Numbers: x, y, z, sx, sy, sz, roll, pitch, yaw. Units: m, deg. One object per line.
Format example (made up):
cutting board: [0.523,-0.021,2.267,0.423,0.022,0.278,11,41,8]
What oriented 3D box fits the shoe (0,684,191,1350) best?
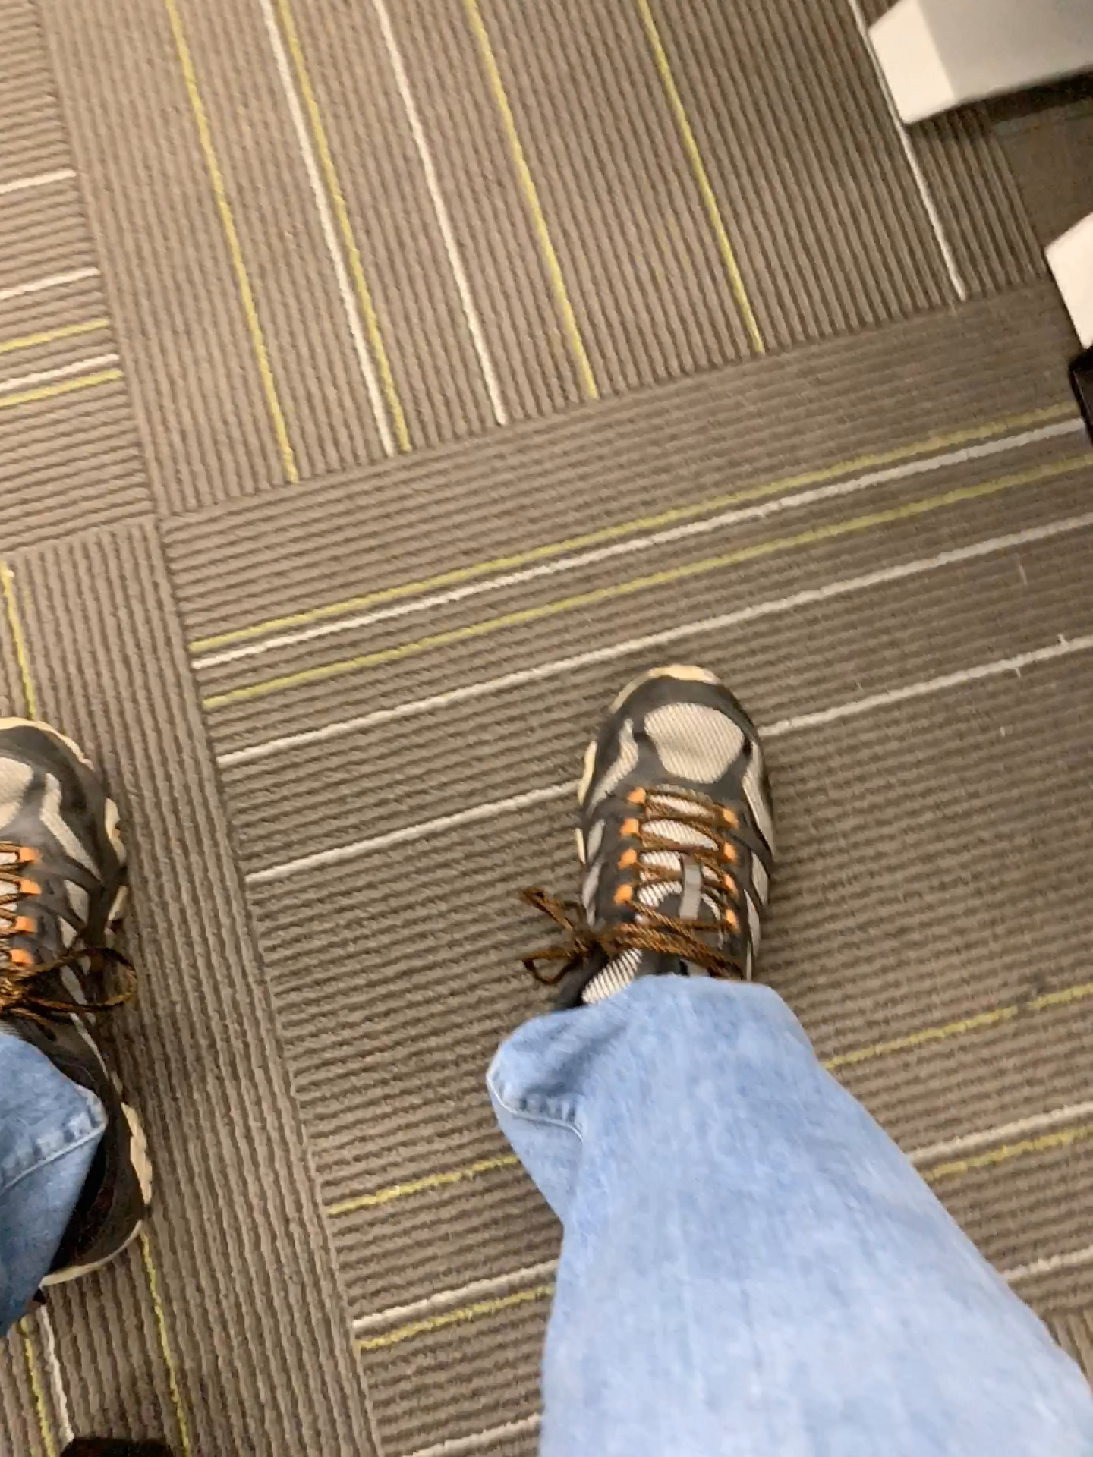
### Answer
shoe: [-0.304,0.152,0.637,0.125,0.095,0.323,-11,81,-2]

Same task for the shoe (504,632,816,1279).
shoe: [0.064,0.120,0.641,0.122,0.095,0.322,9,81,1]
